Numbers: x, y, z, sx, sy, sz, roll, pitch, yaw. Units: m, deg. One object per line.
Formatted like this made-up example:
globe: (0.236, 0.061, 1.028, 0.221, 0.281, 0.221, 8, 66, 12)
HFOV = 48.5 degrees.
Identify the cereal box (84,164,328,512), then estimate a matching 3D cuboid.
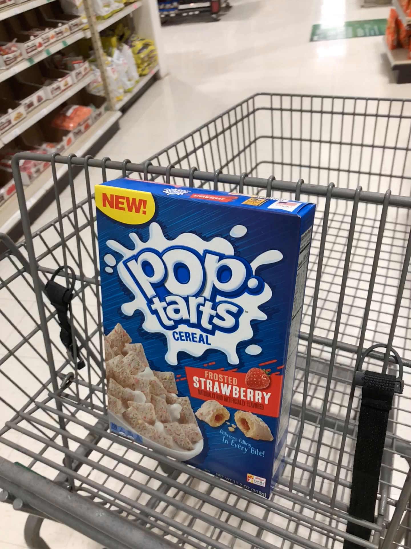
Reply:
cereal box: (-0.010, 0.052, 0.421, 0.200, 0.280, 0.050, 13, 24, 27)
